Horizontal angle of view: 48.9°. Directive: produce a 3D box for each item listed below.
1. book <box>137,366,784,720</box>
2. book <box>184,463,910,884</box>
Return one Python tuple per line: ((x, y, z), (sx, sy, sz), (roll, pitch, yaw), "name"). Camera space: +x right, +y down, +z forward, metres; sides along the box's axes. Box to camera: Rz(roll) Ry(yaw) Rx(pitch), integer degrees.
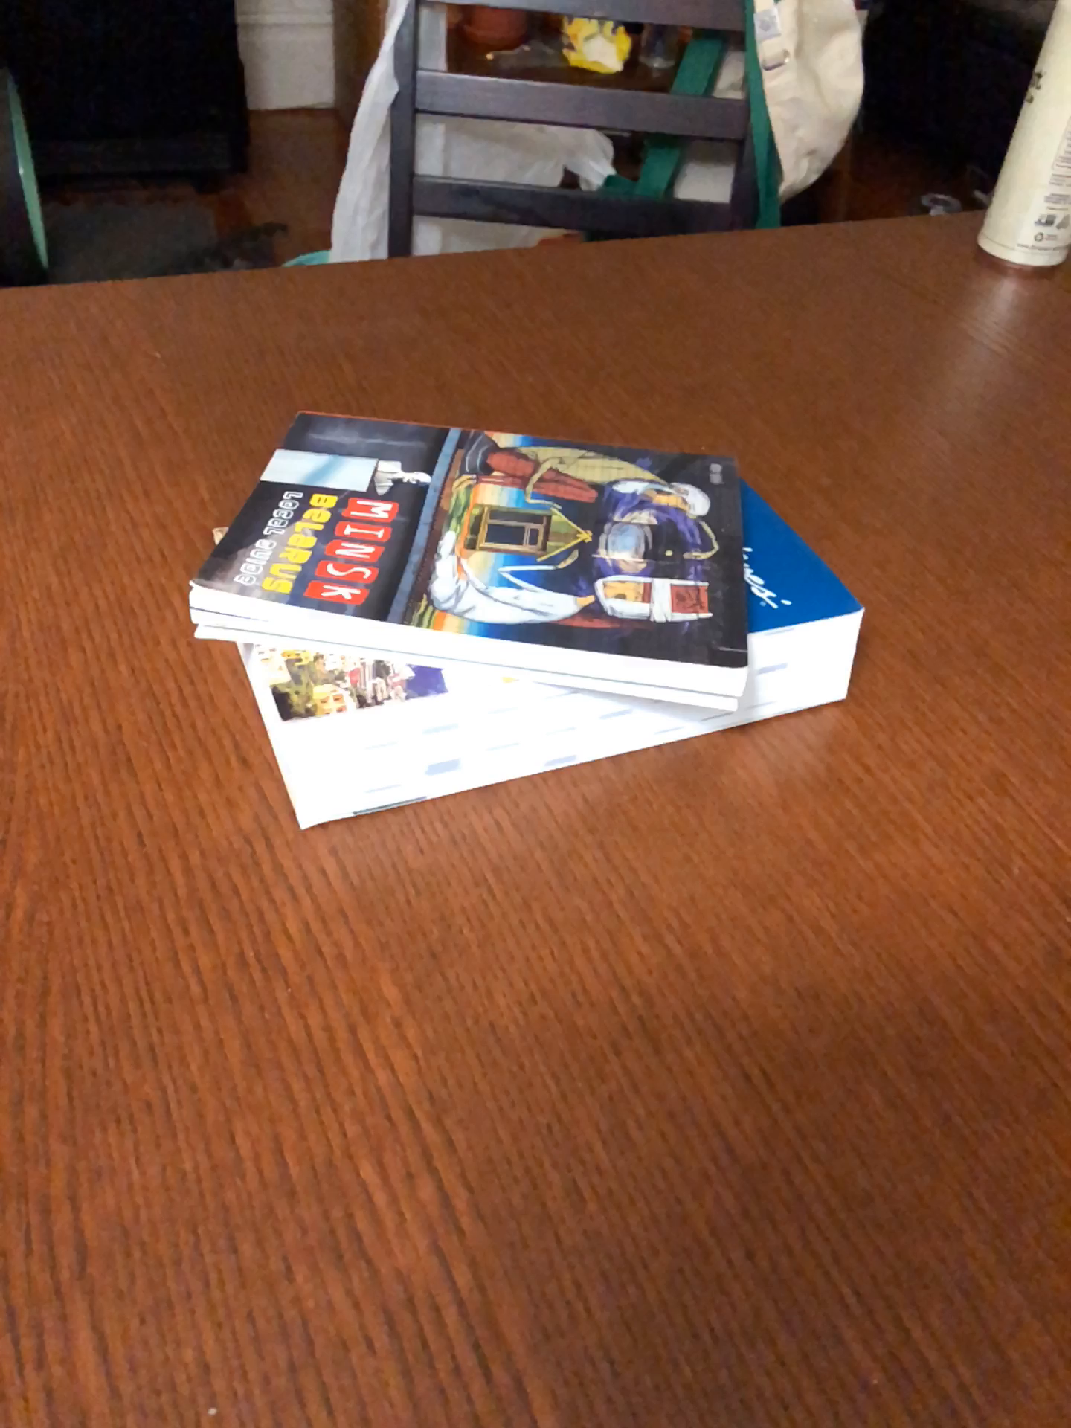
((-0.017, -0.066, 0.406), (0.190, 0.020, 0.151), (7, 42, 1), "book")
((0.000, -0.026, 0.421), (0.220, 0.040, 0.131), (-11, 45, -18), "book")
